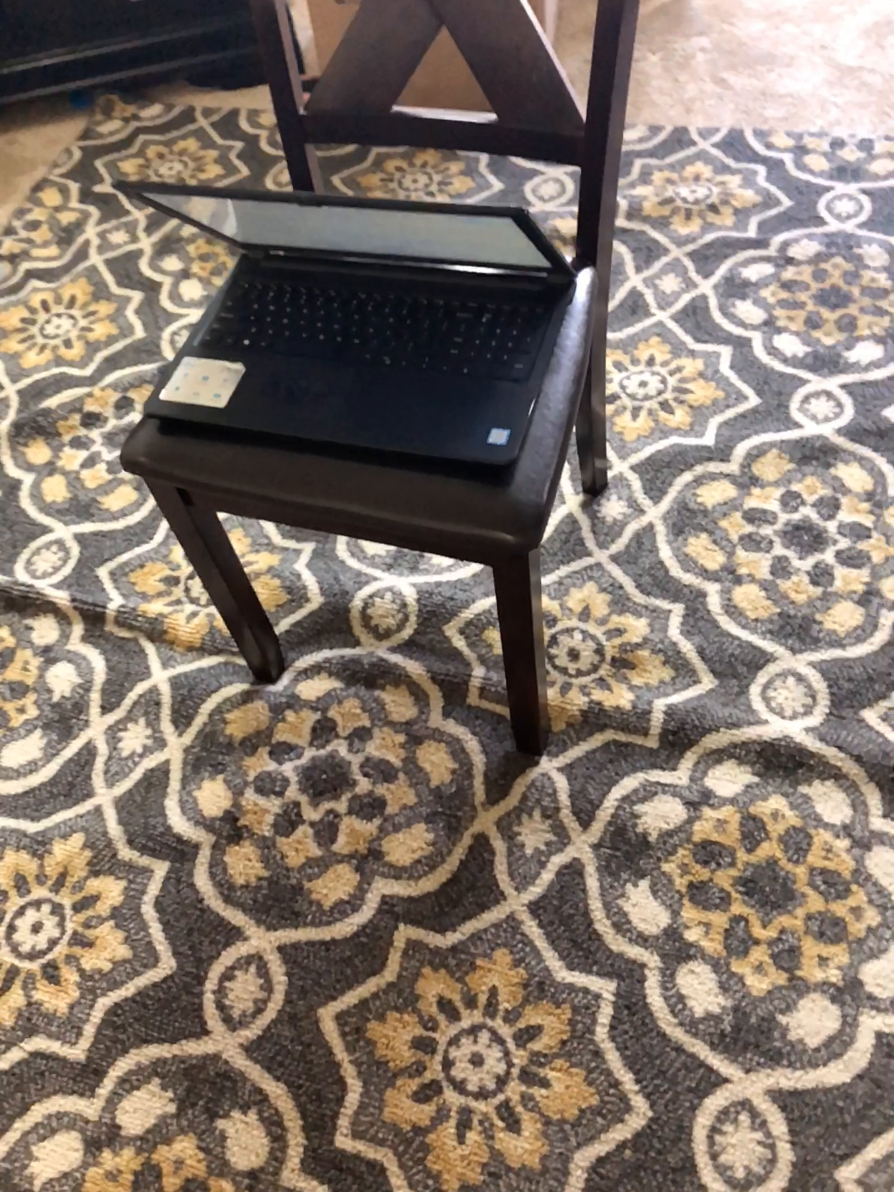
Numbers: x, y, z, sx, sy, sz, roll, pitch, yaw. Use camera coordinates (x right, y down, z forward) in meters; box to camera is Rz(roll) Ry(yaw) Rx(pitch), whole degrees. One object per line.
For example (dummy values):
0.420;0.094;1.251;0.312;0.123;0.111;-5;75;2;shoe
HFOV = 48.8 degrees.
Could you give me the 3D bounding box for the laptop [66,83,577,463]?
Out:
-0.088;-0.297;0.888;0.366;0.185;0.245;10;57;13;laptop
